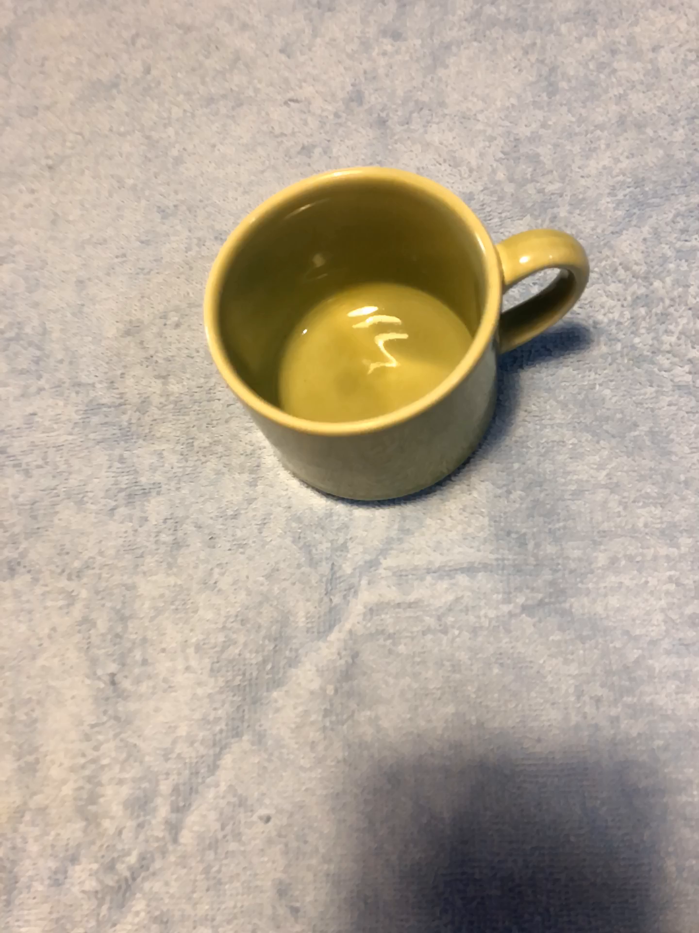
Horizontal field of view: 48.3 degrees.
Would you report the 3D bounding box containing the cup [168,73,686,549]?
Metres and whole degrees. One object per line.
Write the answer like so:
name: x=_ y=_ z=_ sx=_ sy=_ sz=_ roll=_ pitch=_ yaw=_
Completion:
cup: x=0.018 y=-0.042 z=0.228 sx=0.110 sy=0.060 sz=0.090 roll=-18 pitch=68 yaw=2
